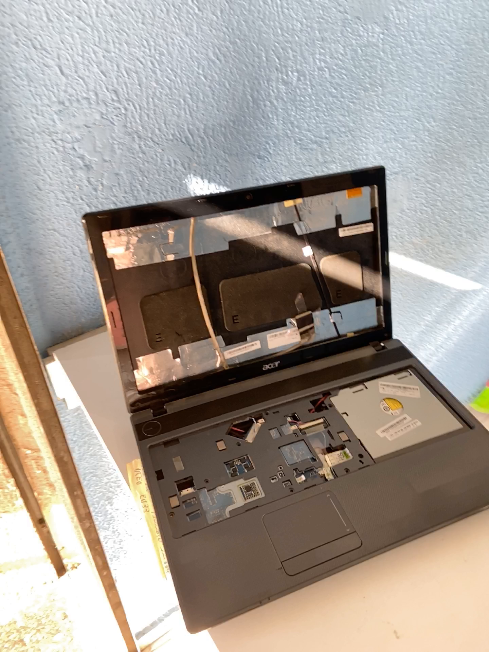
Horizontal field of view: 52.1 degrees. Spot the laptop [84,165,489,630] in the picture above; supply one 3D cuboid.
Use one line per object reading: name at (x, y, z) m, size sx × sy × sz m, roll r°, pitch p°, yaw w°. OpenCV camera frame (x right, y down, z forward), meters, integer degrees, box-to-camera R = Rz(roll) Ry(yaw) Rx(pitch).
laptop at (0.066, 0.022, 0.531) m, size 0.378 × 0.210 × 0.351 m, roll -14°, pitch 40°, yaw -16°
